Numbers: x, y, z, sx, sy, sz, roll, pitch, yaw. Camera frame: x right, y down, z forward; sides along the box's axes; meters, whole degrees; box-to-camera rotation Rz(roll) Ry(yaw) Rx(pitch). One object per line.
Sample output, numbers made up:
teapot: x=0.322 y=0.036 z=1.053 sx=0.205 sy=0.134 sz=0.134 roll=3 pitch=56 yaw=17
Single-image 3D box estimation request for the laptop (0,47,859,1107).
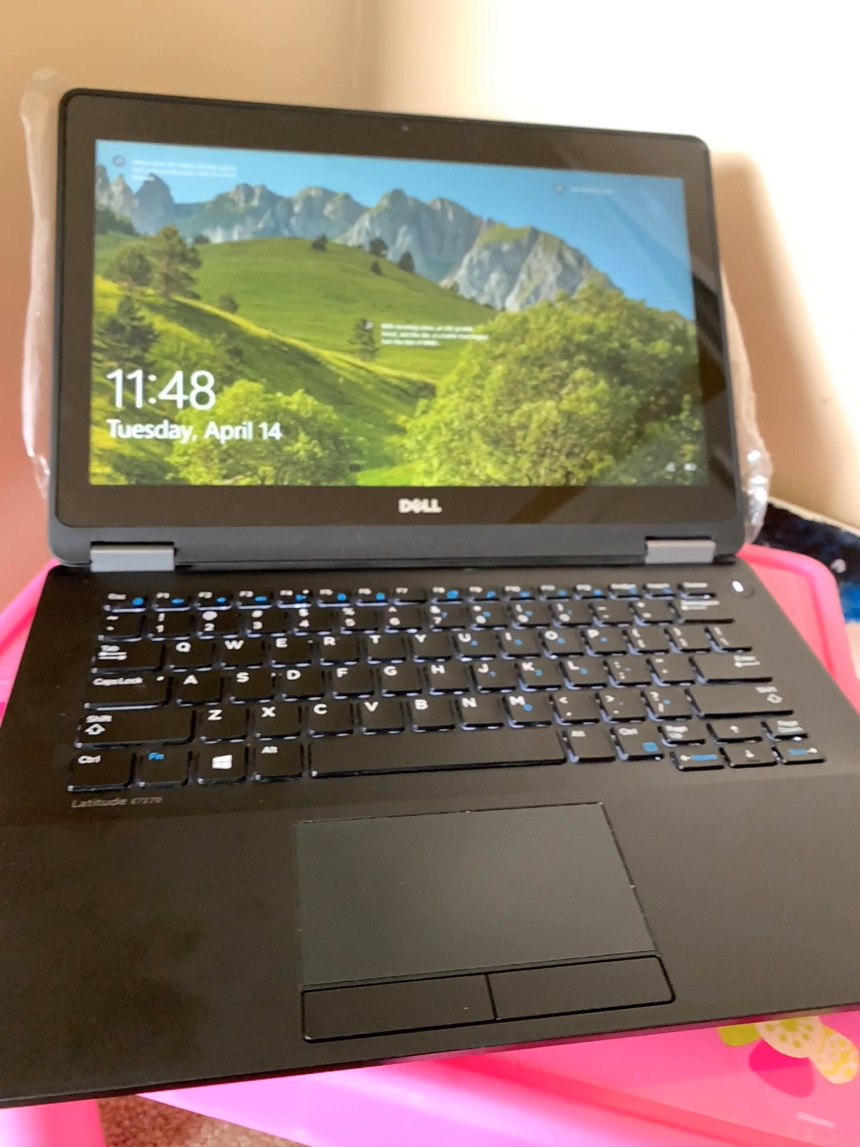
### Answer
laptop: x=0.006 y=-0.045 z=0.278 sx=0.261 sy=0.121 sz=0.303 roll=-1 pitch=41 yaw=-11
